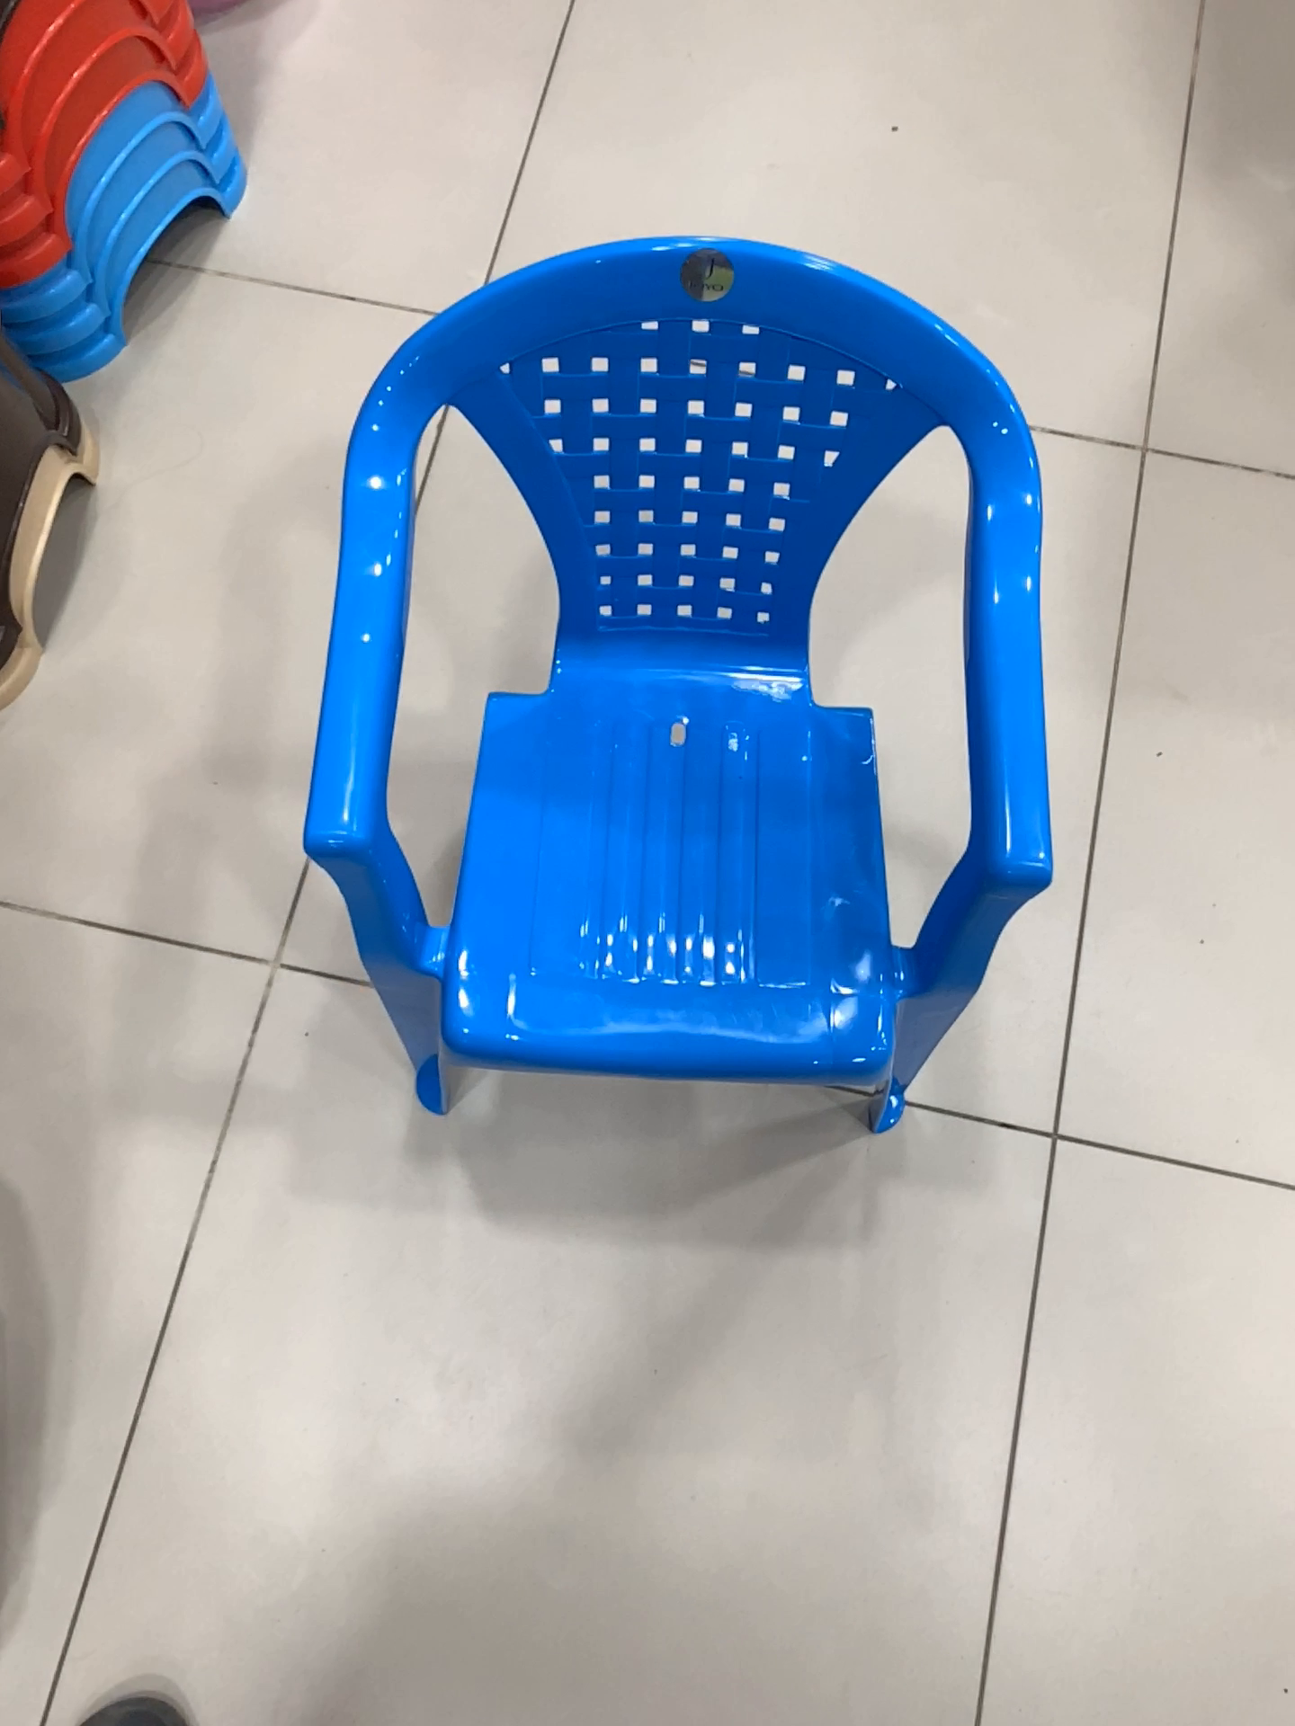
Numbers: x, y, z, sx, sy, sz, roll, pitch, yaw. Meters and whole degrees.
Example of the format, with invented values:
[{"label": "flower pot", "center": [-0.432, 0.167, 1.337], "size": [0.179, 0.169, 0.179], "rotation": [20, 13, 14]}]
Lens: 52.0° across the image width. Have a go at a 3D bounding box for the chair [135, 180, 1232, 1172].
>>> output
[{"label": "chair", "center": [0.022, -0.035, 0.736], "size": [0.370, 0.500, 0.340], "rotation": [4, 73, 1]}]
